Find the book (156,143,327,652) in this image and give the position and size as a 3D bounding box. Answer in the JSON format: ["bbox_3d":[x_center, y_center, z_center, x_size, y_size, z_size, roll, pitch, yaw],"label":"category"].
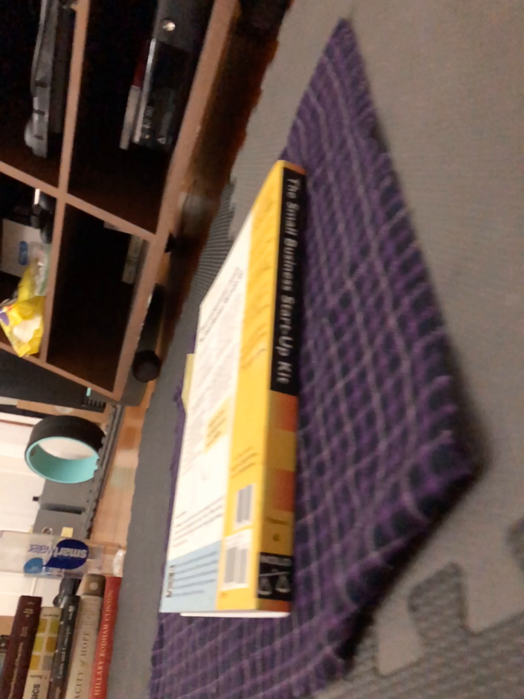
[{"bbox_3d":[-0.020,0.044,0.434,0.230,0.030,0.310,131,148,-59],"label":"book"}]
